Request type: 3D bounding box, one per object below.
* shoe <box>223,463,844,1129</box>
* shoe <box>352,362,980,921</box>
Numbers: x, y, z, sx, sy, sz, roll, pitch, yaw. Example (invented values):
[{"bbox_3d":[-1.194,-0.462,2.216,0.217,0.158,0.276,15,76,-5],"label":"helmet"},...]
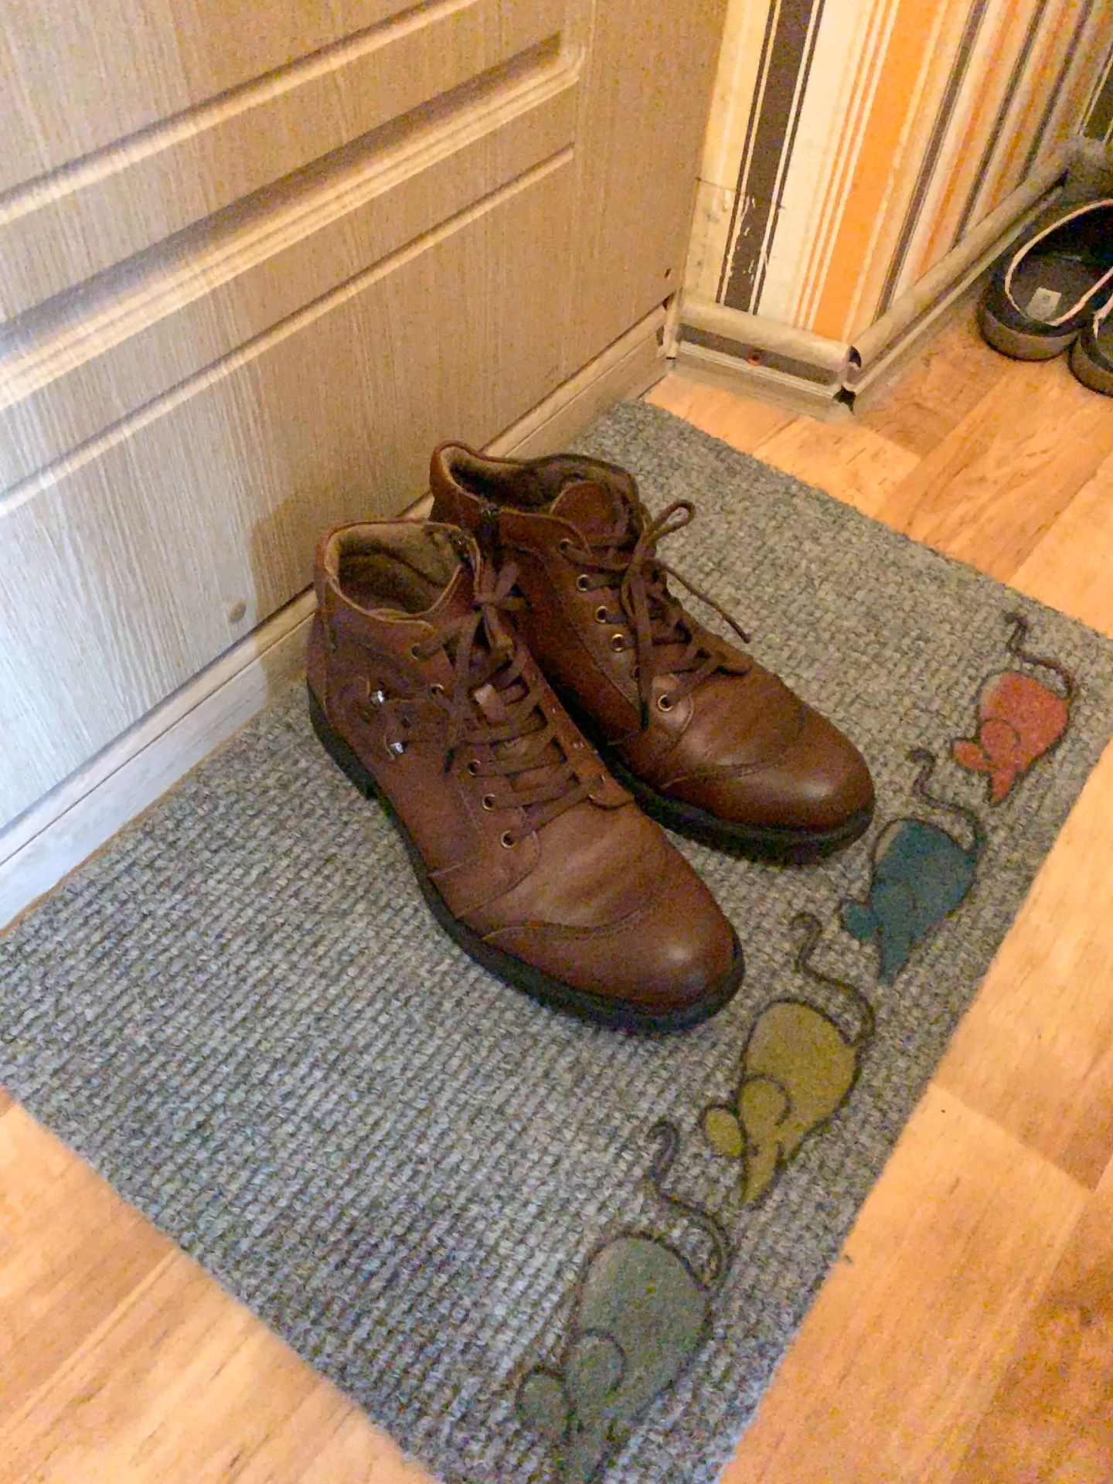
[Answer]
[{"bbox_3d":[-0.022,0.018,0.517,0.110,0.140,0.260,-33,62,-26],"label":"shoe"},{"bbox_3d":[0.042,-0.054,0.574,0.270,0.140,0.110,30,57,17],"label":"shoe"}]
